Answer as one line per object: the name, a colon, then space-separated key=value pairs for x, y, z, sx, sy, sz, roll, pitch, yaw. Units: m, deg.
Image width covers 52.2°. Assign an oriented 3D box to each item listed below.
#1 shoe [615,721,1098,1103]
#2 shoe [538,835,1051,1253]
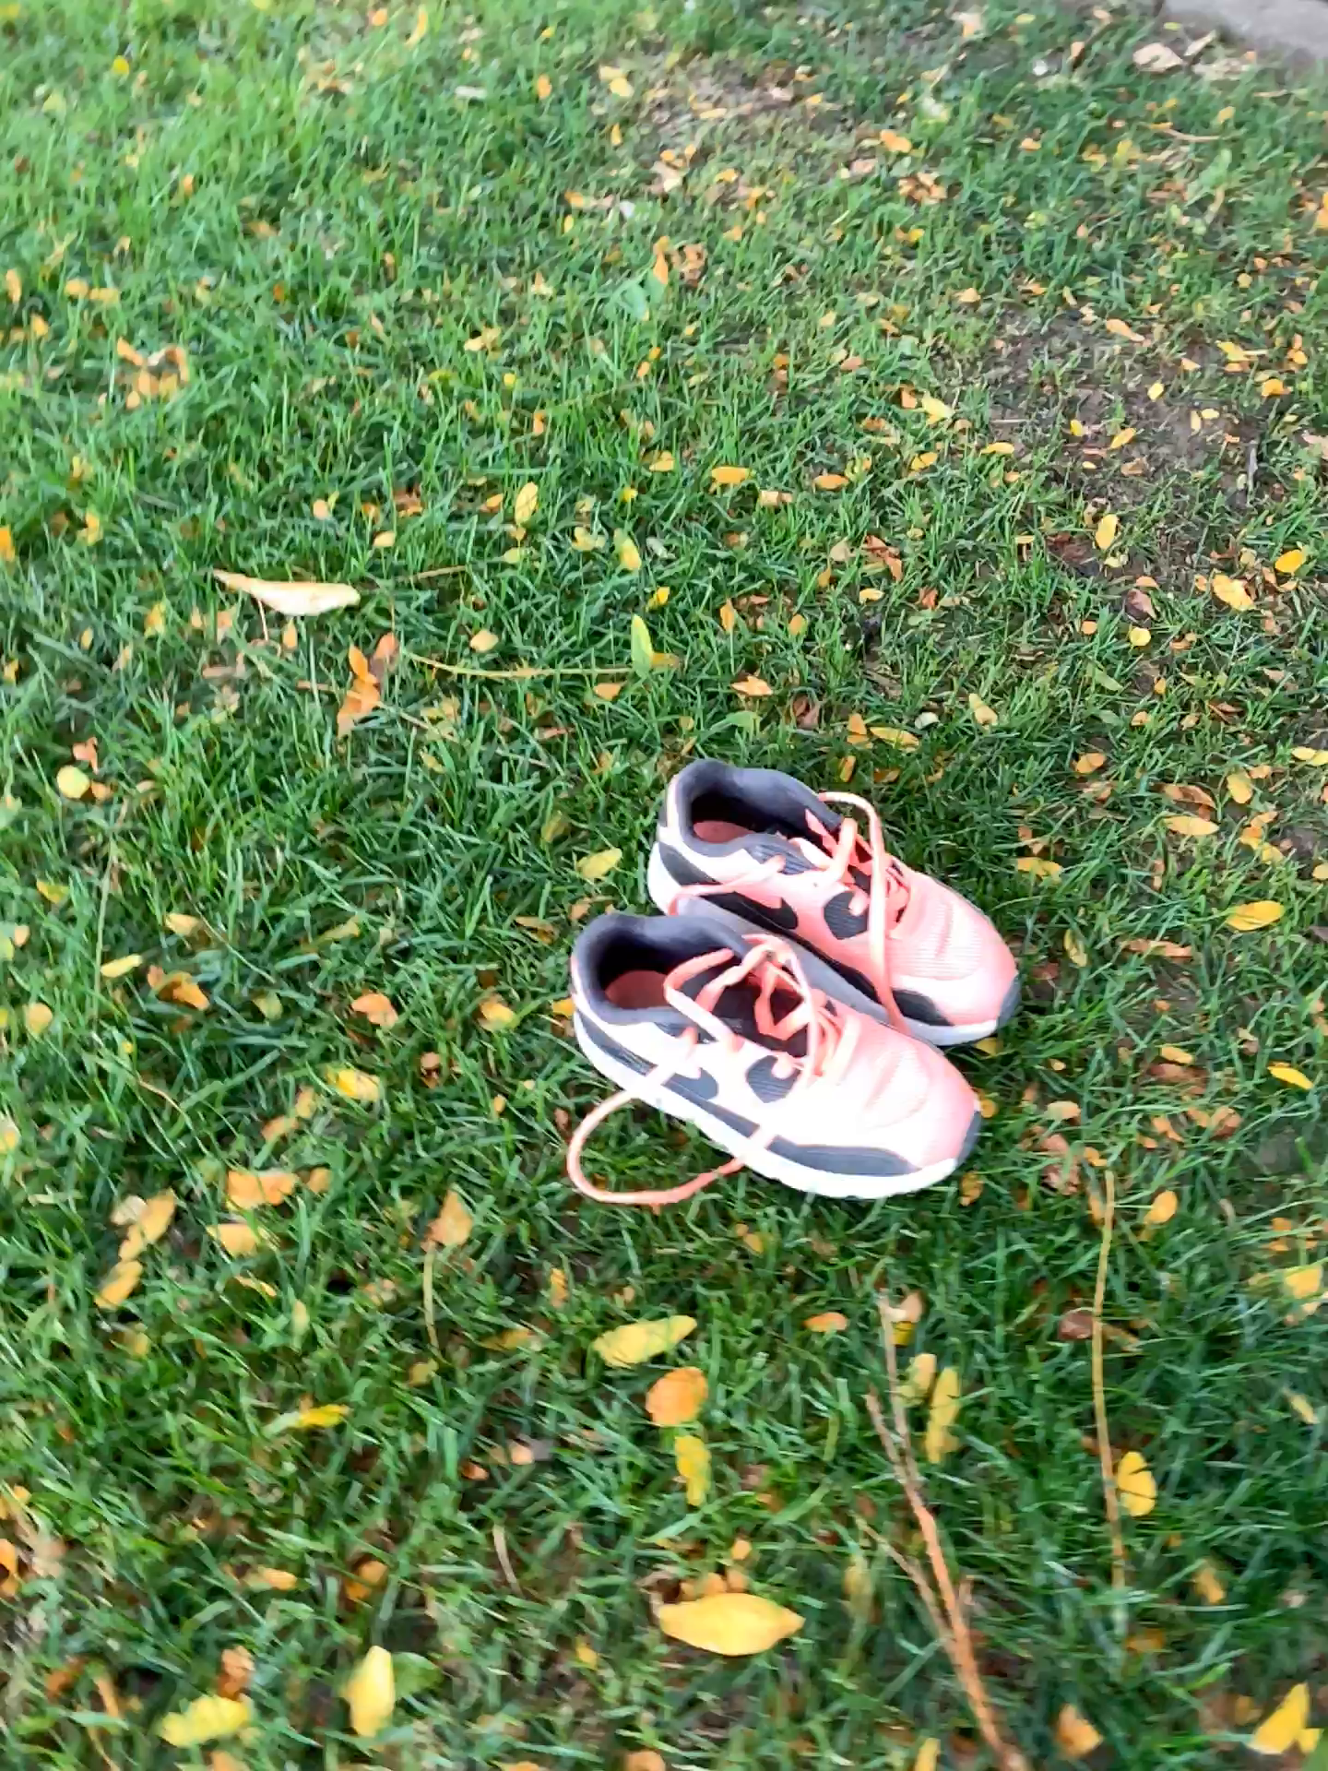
shoe: x=0.085 y=0.009 z=0.635 sx=0.200 sy=0.070 sz=0.080 roll=25 pitch=60 yaw=20
shoe: x=0.053 y=0.066 z=0.597 sx=0.200 sy=0.070 sz=0.080 roll=25 pitch=60 yaw=20
